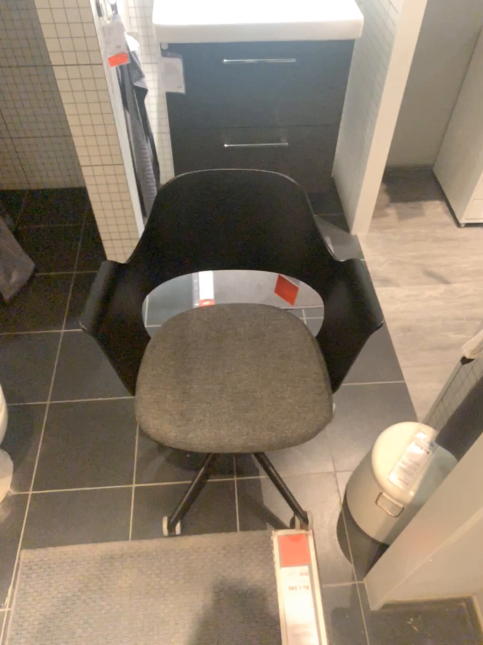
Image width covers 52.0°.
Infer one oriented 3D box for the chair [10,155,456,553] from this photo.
[{"bbox_3d":[-0.025,0.109,1.184,0.640,0.737,0.602,-3,51,-2],"label":"chair"}]
